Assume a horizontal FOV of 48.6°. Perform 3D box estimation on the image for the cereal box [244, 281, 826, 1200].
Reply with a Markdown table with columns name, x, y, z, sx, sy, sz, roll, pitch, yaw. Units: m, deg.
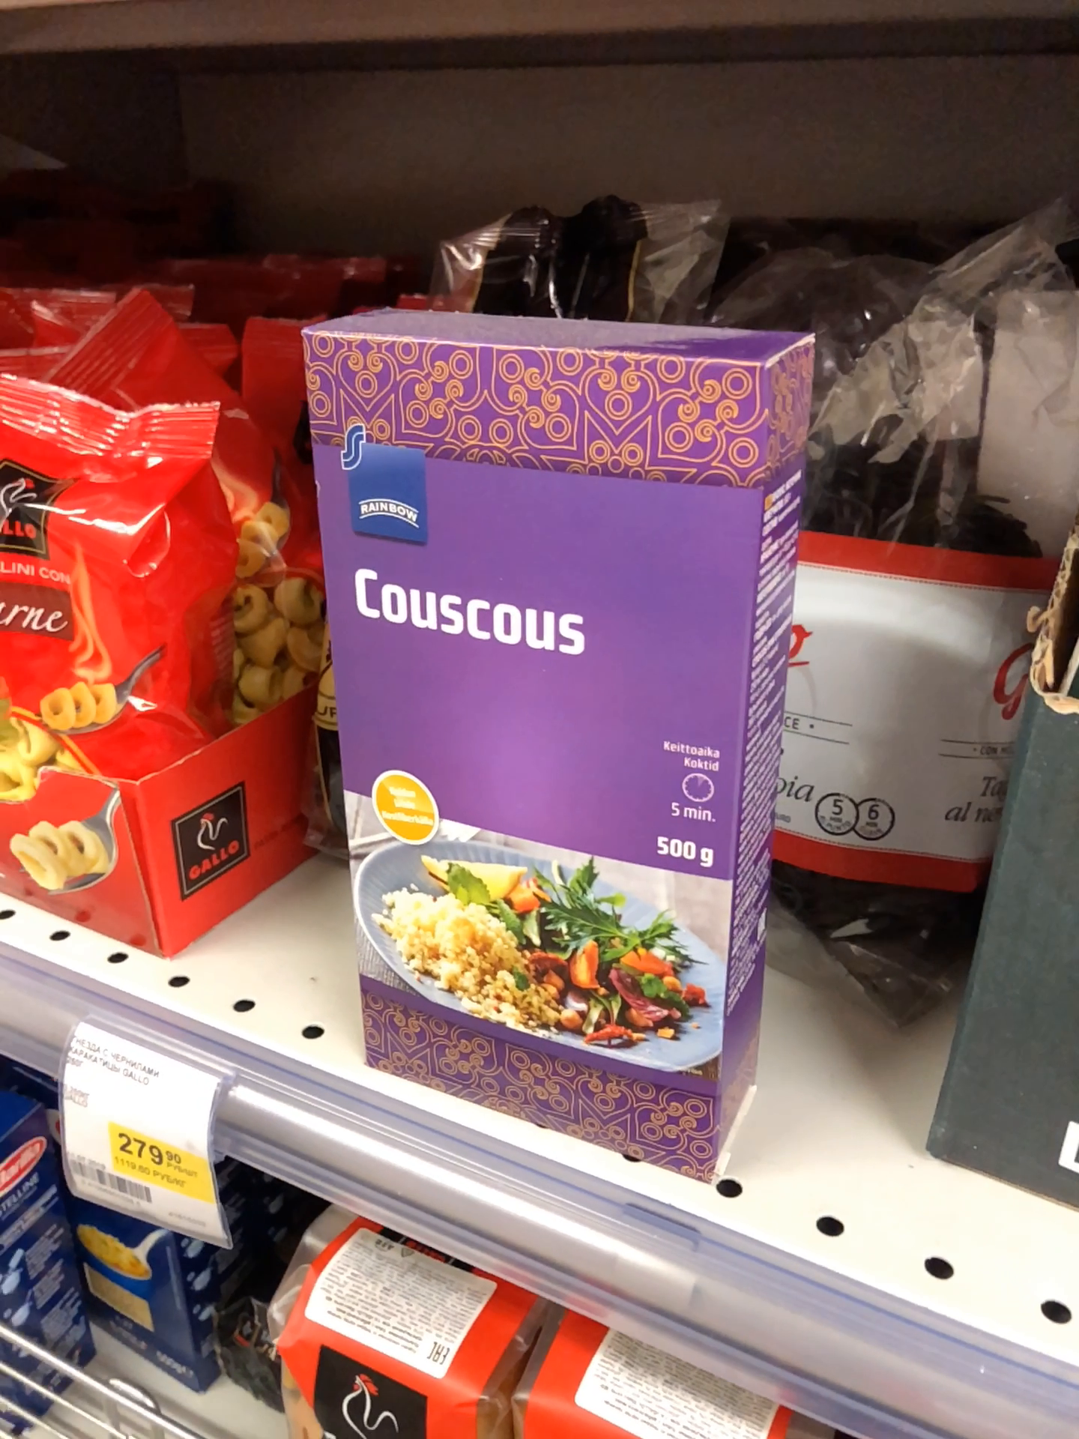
| name | x | y | z | sx | sy | sz | roll | pitch | yaw |
| --- | --- | --- | --- | --- | --- | --- | --- | --- | --- |
| cereal box | -0.002 | 0.007 | 0.281 | 0.110 | 0.199 | 0.040 | 11 | 27 | 23 |
